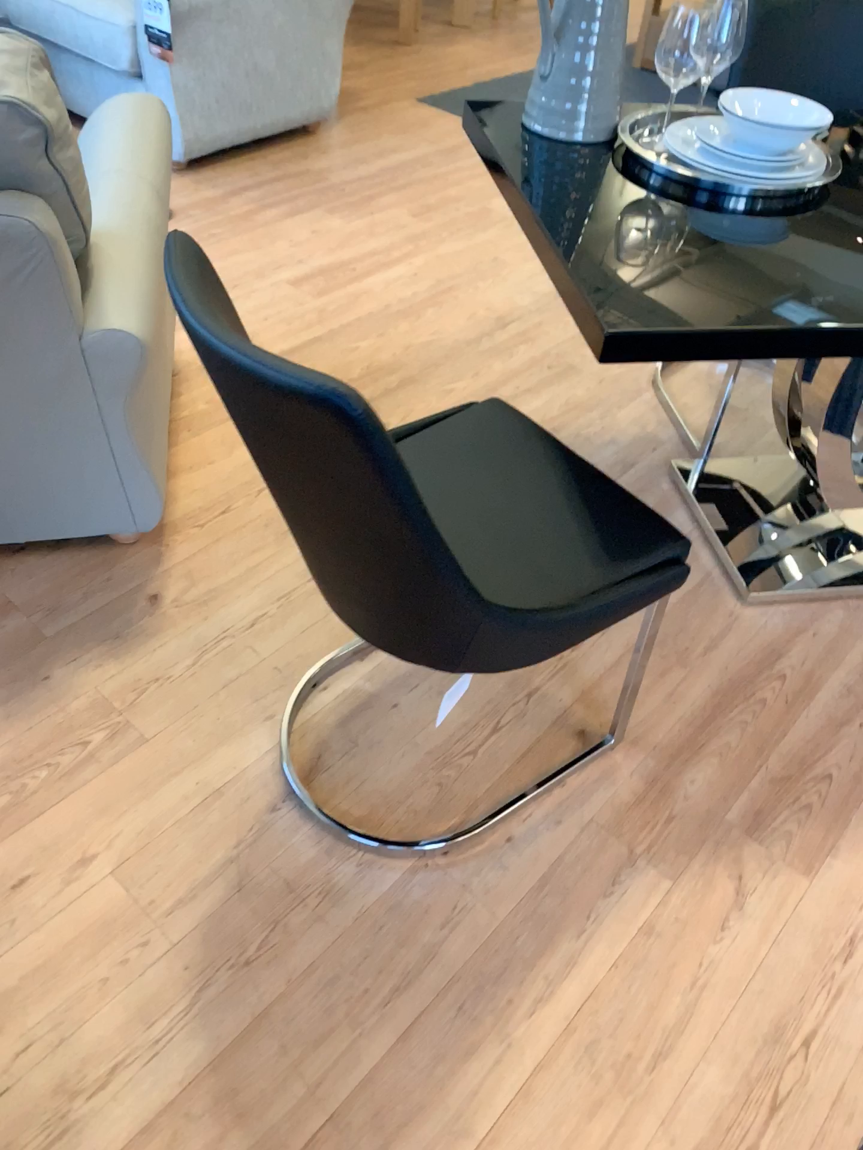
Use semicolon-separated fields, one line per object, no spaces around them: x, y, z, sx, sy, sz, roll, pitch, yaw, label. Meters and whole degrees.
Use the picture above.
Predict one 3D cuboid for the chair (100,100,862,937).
0.042;-0.084;1.178;0.631;0.812;0.509;-27;52;-30;chair
